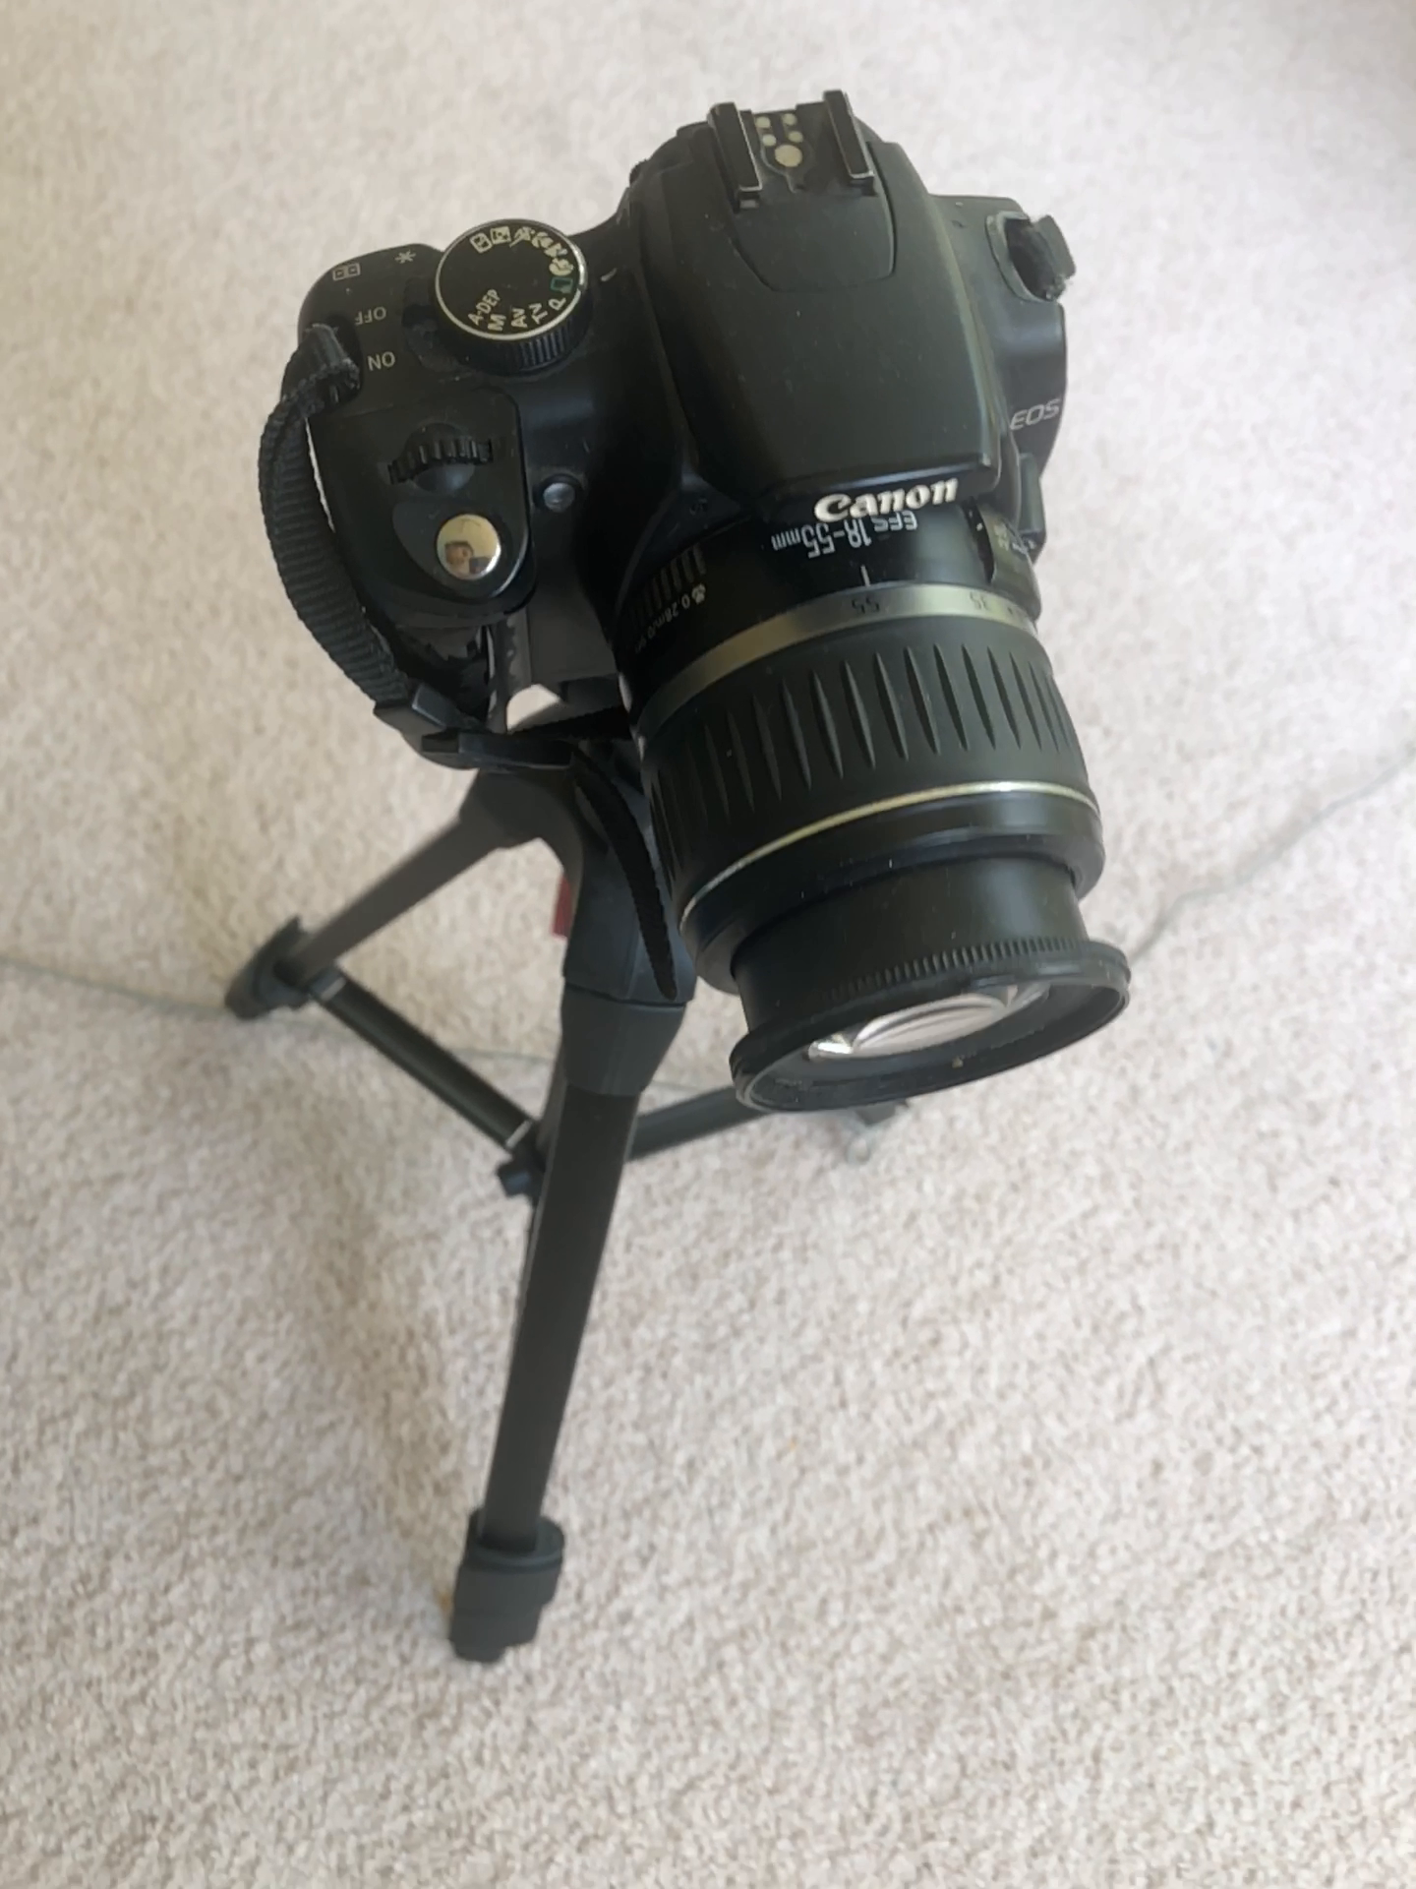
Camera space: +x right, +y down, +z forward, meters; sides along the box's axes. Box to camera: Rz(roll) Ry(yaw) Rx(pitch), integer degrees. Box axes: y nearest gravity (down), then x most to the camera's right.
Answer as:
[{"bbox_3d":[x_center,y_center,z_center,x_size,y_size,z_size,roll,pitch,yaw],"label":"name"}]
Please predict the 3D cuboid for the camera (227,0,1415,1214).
[{"bbox_3d":[0.012,-0.051,0.248,0.130,0.093,0.142,-13,72,-9],"label":"camera"}]
